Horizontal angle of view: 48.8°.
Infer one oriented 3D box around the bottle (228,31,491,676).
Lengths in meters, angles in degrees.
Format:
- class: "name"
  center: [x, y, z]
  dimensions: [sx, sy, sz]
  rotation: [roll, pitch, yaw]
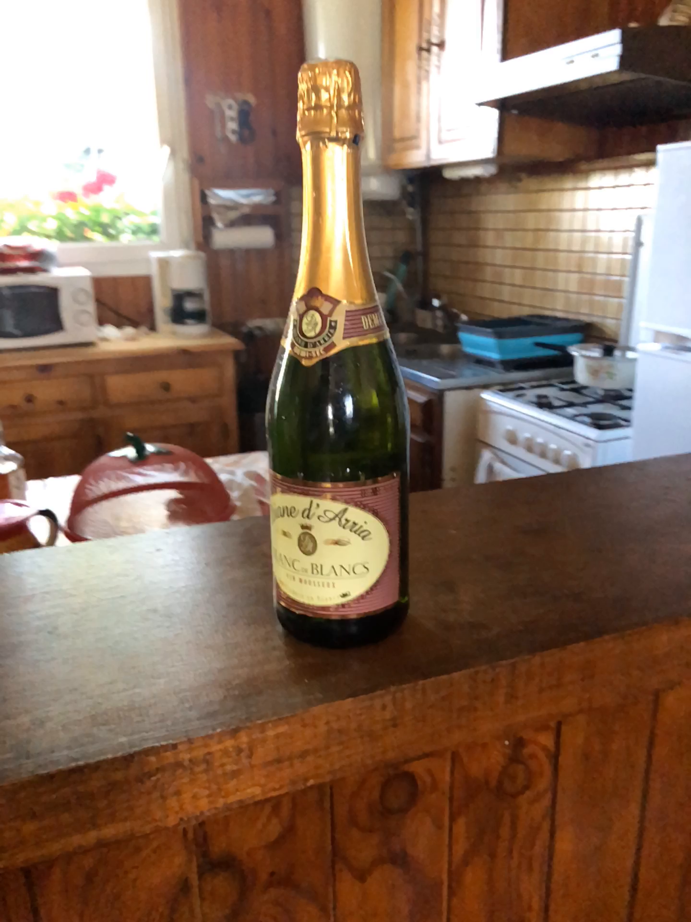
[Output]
- class: "bottle"
  center: [0.012, -0.051, 0.416]
  dimensions: [0.090, 0.299, 0.101]
  rotation: [9, 20, 30]
